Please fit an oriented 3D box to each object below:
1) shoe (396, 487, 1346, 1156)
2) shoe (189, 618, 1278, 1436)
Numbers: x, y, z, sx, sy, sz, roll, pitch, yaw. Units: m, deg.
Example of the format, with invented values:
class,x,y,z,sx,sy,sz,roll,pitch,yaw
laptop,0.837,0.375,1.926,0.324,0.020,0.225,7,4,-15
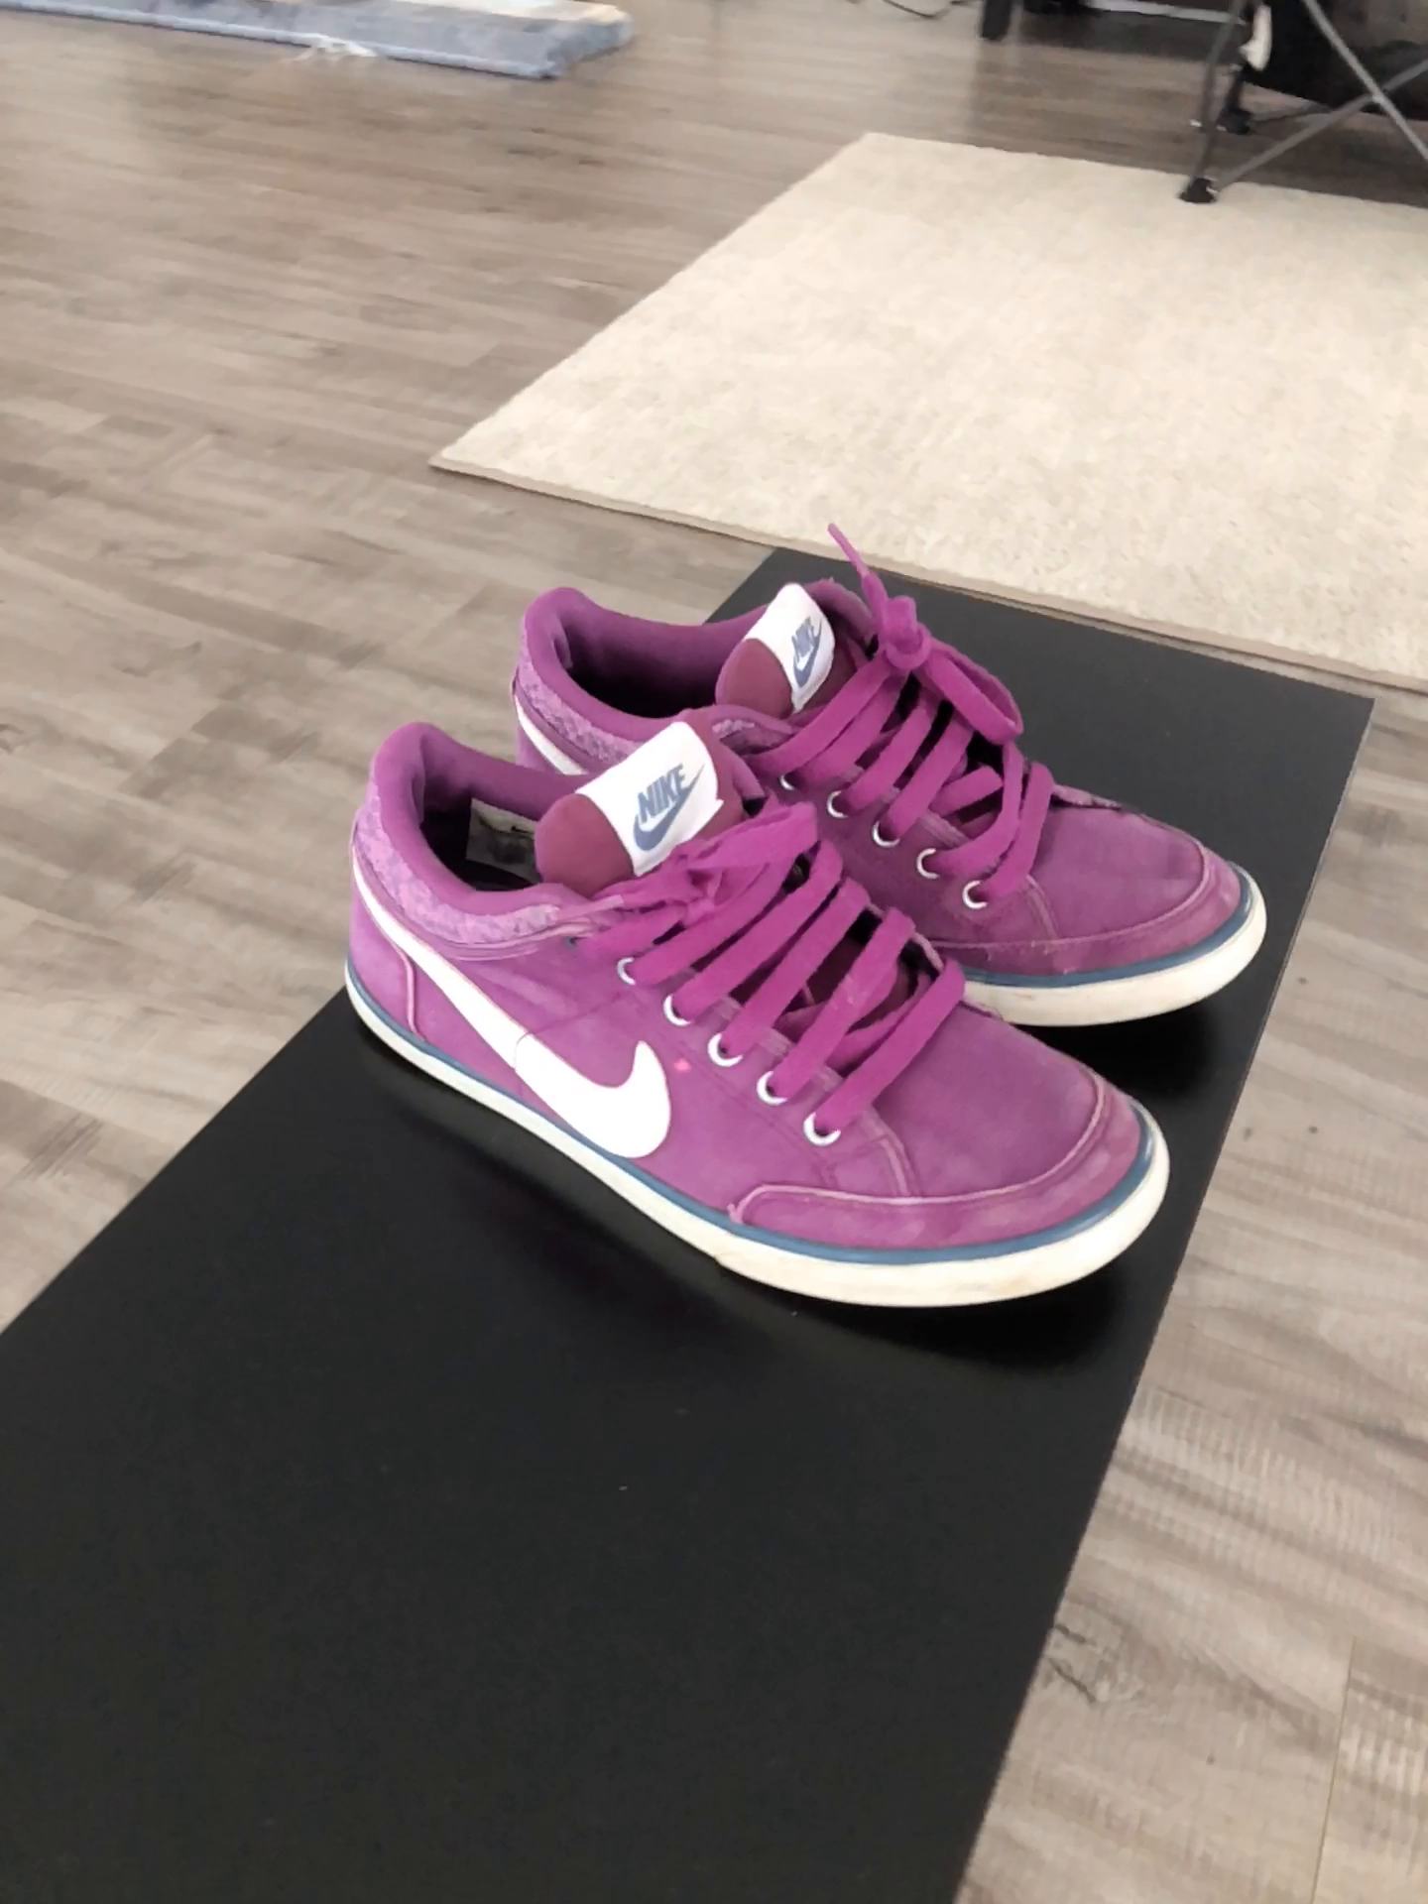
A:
class,x,y,z,sx,sy,sz,roll,pitch,yaw
shoe,0.041,-0.049,0.480,0.250,0.100,0.100,19,45,20
shoe,0.002,0.009,0.408,0.240,0.100,0.100,19,45,20
